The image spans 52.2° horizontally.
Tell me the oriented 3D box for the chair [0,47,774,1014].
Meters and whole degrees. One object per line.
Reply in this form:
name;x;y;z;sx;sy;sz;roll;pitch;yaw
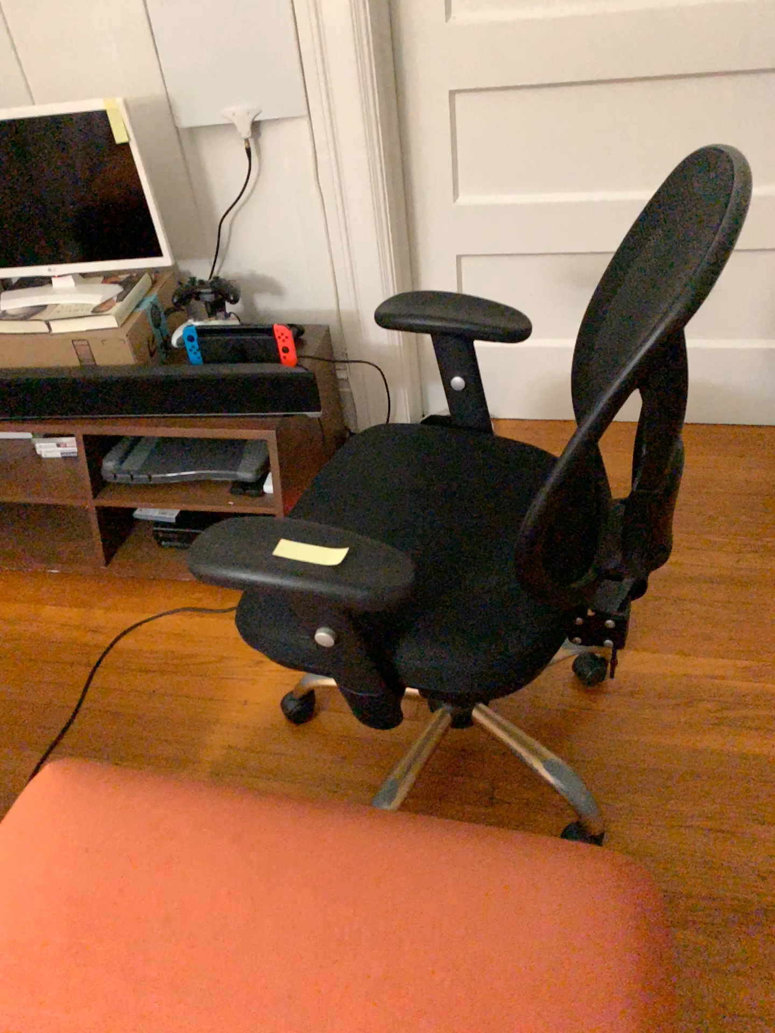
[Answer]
chair;0.117;0.020;1.053;0.662;0.974;0.642;15;44;18
